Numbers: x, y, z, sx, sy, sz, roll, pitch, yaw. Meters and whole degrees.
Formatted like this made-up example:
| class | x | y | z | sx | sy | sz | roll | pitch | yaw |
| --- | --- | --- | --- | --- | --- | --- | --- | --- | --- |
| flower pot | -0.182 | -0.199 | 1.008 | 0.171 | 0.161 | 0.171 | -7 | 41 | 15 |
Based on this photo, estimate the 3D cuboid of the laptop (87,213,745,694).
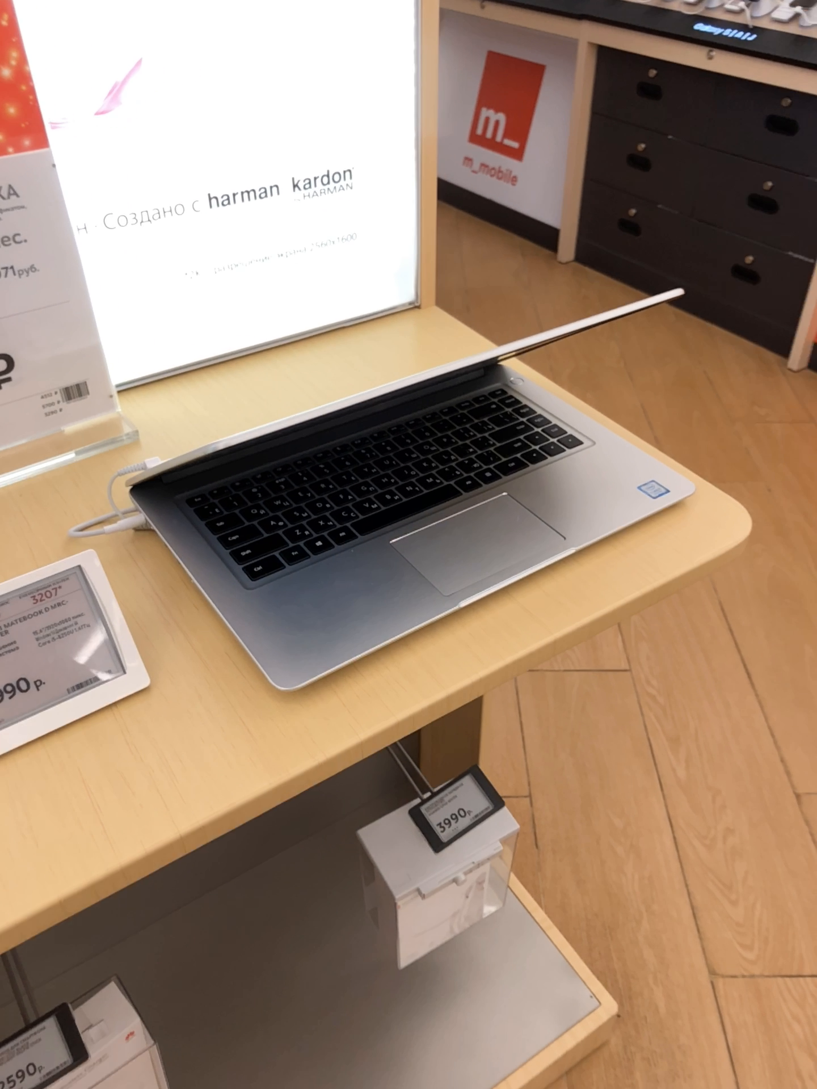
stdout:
| class | x | y | z | sx | sy | sz | roll | pitch | yaw |
| --- | --- | --- | --- | --- | --- | --- | --- | --- | --- |
| laptop | 0.007 | -0.090 | 0.609 | 0.343 | 0.135 | 0.231 | -24 | 45 | -26 |
